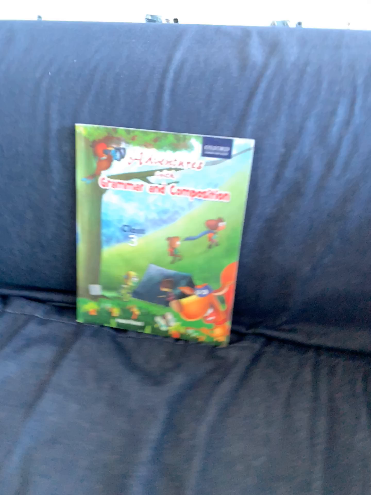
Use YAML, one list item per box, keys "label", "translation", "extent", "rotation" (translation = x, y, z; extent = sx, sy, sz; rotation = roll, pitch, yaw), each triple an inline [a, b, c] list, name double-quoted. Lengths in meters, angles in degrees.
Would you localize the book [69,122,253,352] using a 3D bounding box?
- label: "book"
  translation: [-0.039, -0.009, 0.476]
  extent: [0.212, 0.268, 0.030]
  rotation: [8, 20, 10]
